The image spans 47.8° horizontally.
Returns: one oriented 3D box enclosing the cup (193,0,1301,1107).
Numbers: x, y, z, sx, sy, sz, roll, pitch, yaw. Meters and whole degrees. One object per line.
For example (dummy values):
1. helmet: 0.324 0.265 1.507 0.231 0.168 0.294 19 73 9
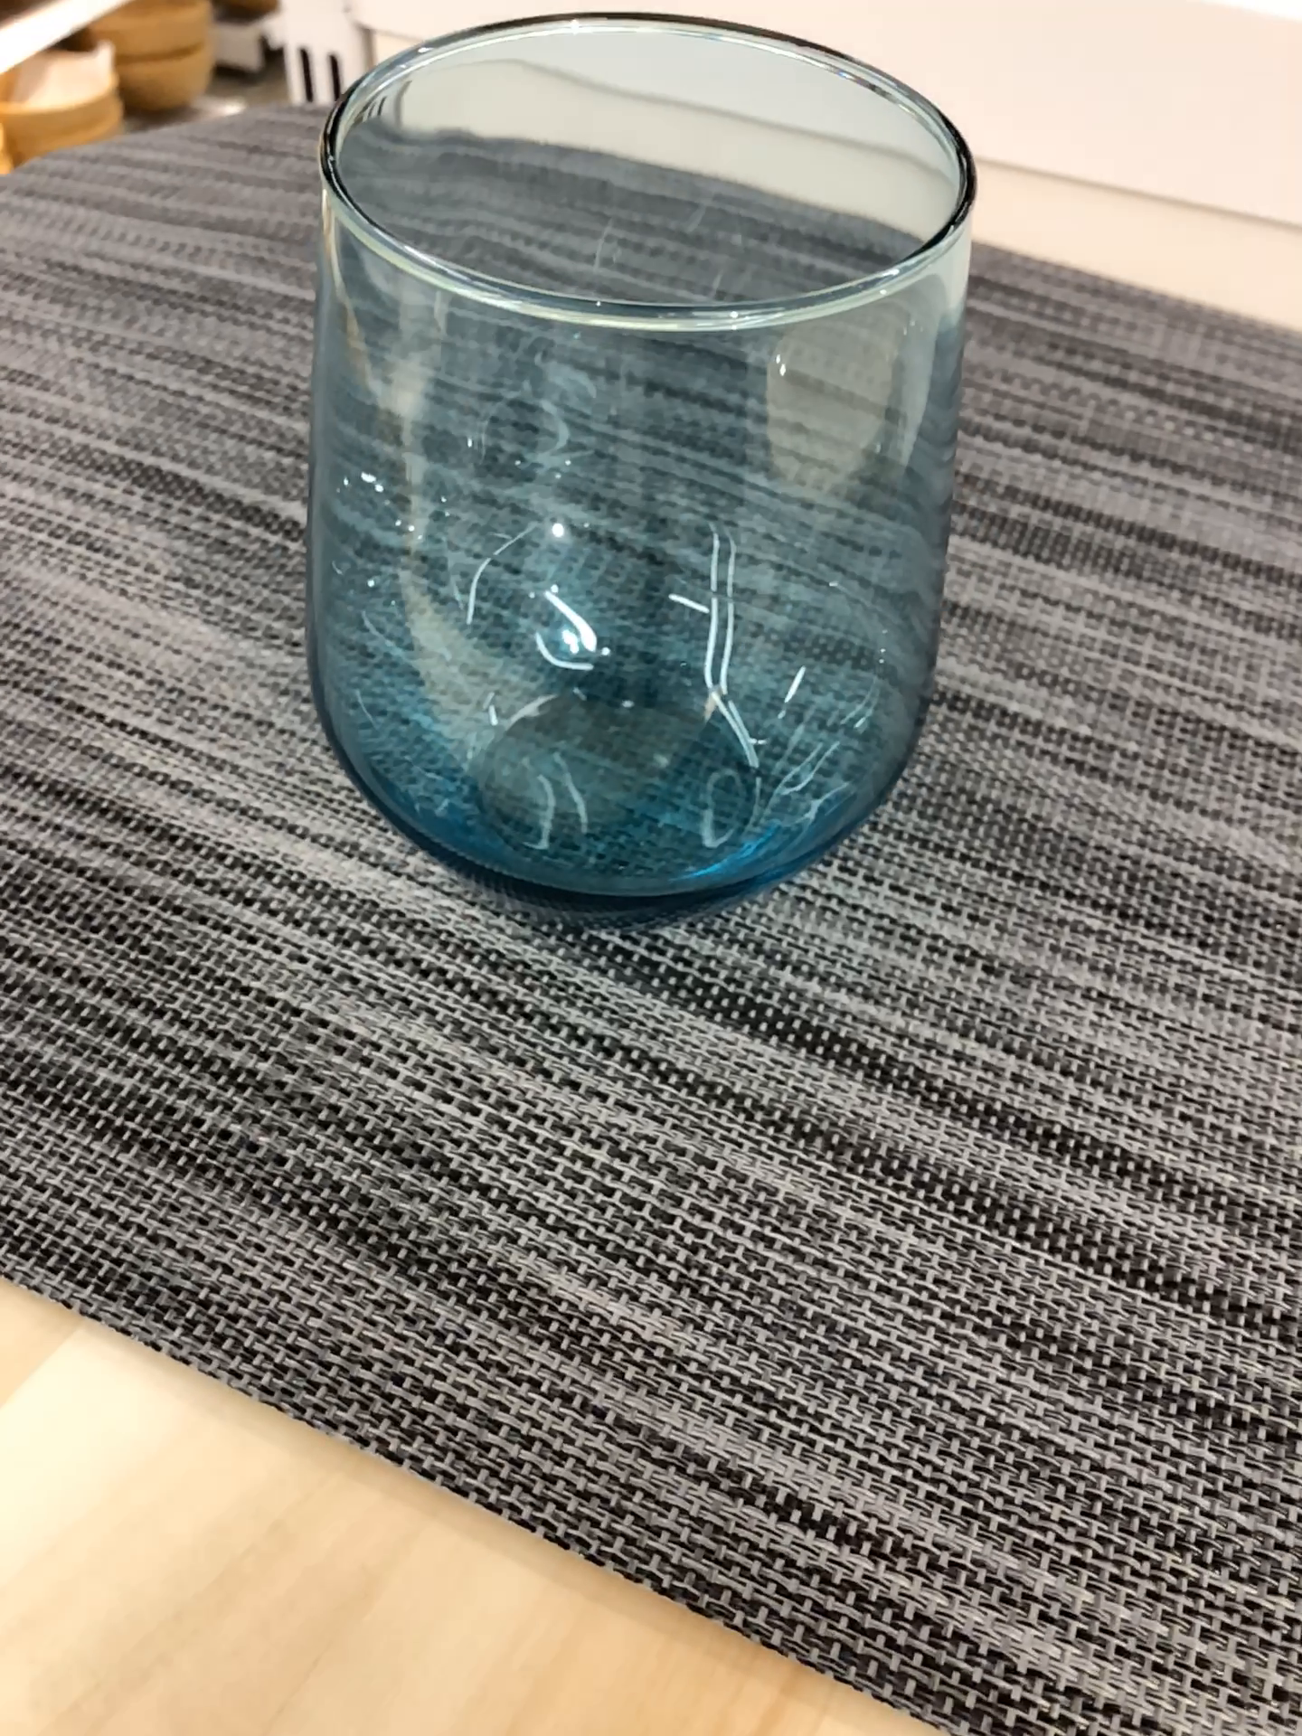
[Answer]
1. cup: 0.009 -0.053 0.216 0.120 0.120 0.120 2 49 -3
